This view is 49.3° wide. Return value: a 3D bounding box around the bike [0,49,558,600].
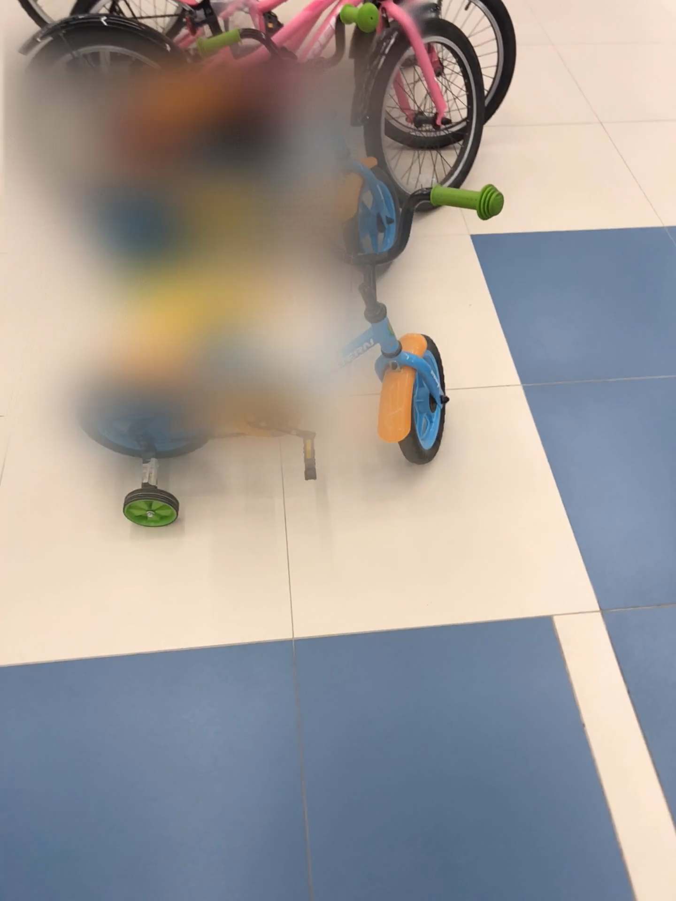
[{"bbox_3d":[-0.125,-0.231,1.365,0.750,0.682,0.567,-11,53,-11],"label":"bike"}]
